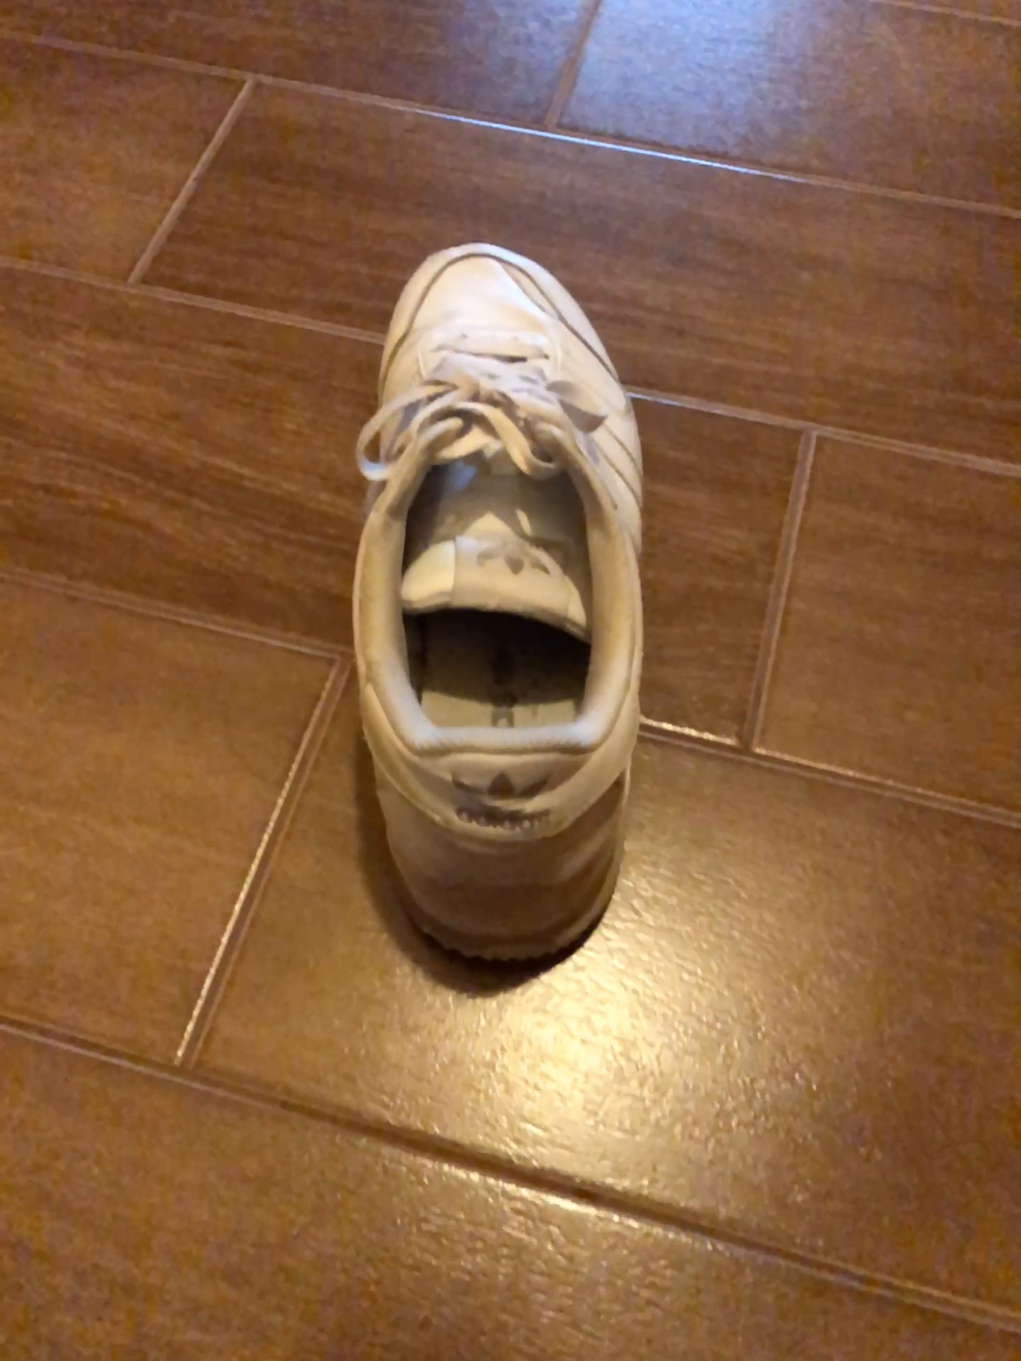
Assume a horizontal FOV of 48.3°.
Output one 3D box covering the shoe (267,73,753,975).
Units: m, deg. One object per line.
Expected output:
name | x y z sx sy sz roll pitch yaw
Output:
shoe | 0.000 -0.065 0.409 0.120 0.119 0.311 0 61 0
